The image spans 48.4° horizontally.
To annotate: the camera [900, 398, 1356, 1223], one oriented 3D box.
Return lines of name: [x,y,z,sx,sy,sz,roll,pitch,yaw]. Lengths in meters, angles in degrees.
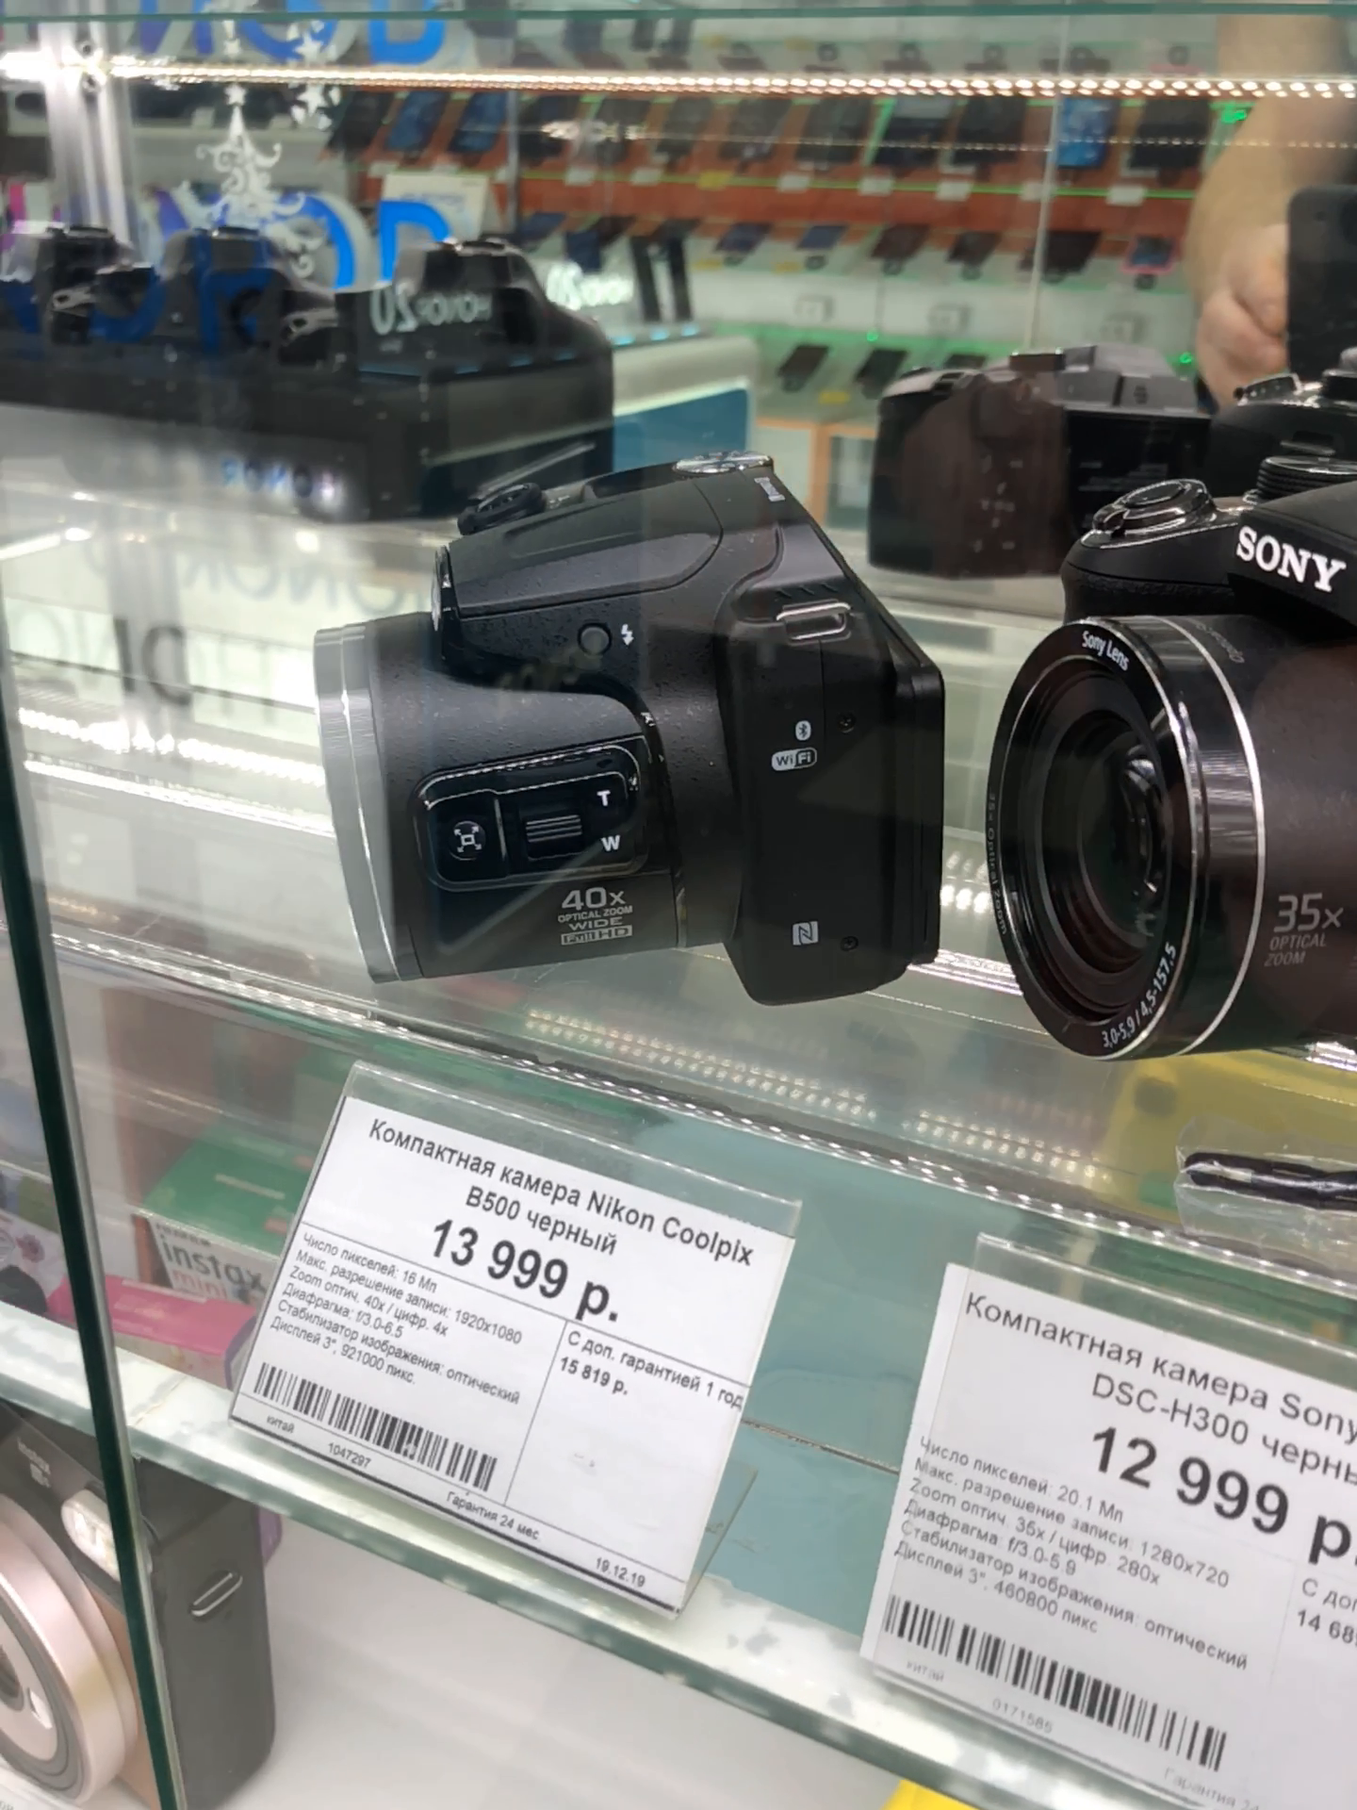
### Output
camera: [0.101,-0.027,0.232,0.098,0.084,0.115,-6,24,-10]

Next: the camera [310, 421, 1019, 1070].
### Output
camera: [-0.013,-0.038,0.270,0.098,0.080,0.110,-4,25,-13]
